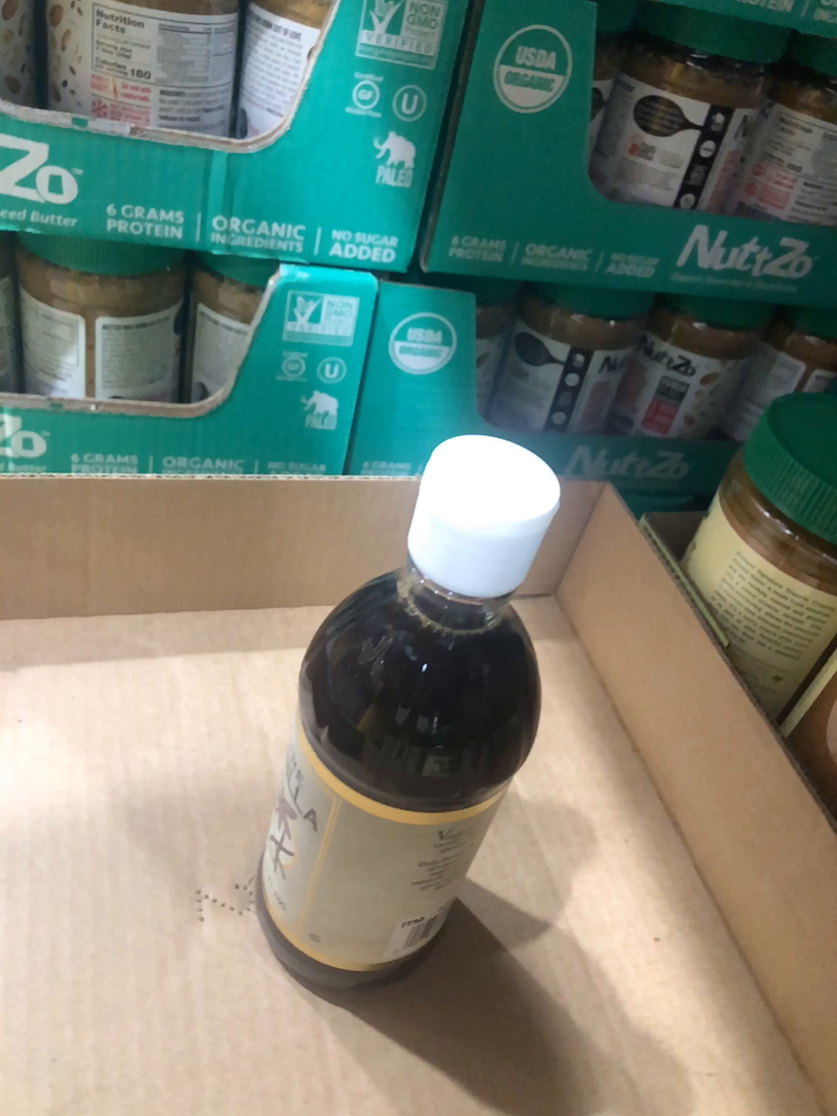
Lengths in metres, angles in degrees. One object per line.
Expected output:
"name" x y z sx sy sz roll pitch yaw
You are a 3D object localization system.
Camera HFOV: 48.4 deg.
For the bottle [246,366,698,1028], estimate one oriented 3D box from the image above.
"bottle" -0.003 0.053 0.269 0.070 0.199 0.070 9 40 -8
